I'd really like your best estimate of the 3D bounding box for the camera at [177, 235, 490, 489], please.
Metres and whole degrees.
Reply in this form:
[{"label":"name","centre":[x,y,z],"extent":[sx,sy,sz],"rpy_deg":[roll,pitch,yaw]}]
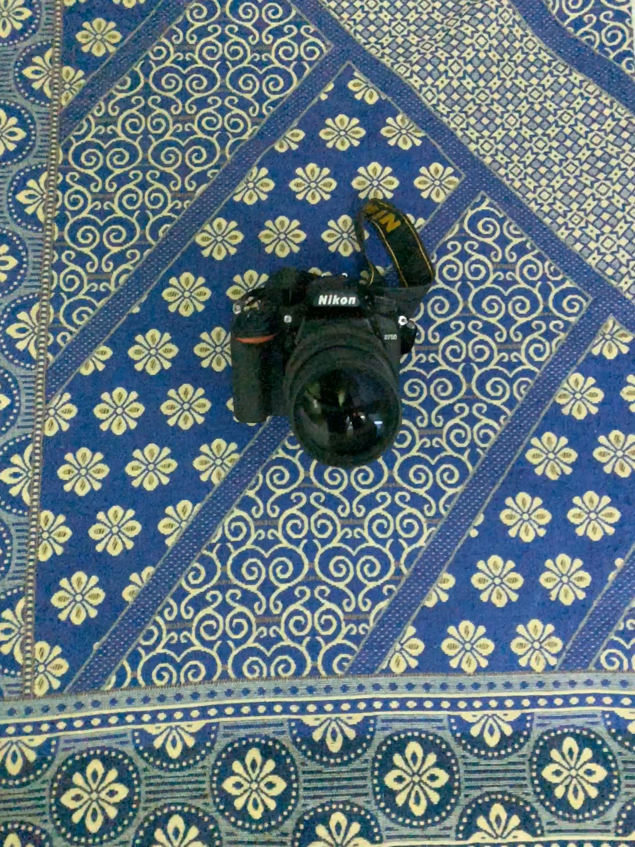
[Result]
[{"label":"camera","centre":[0.006,-0.039,0.430],"extent":[0.160,0.191,0.130],"rpy_deg":[0,95,-1]}]
